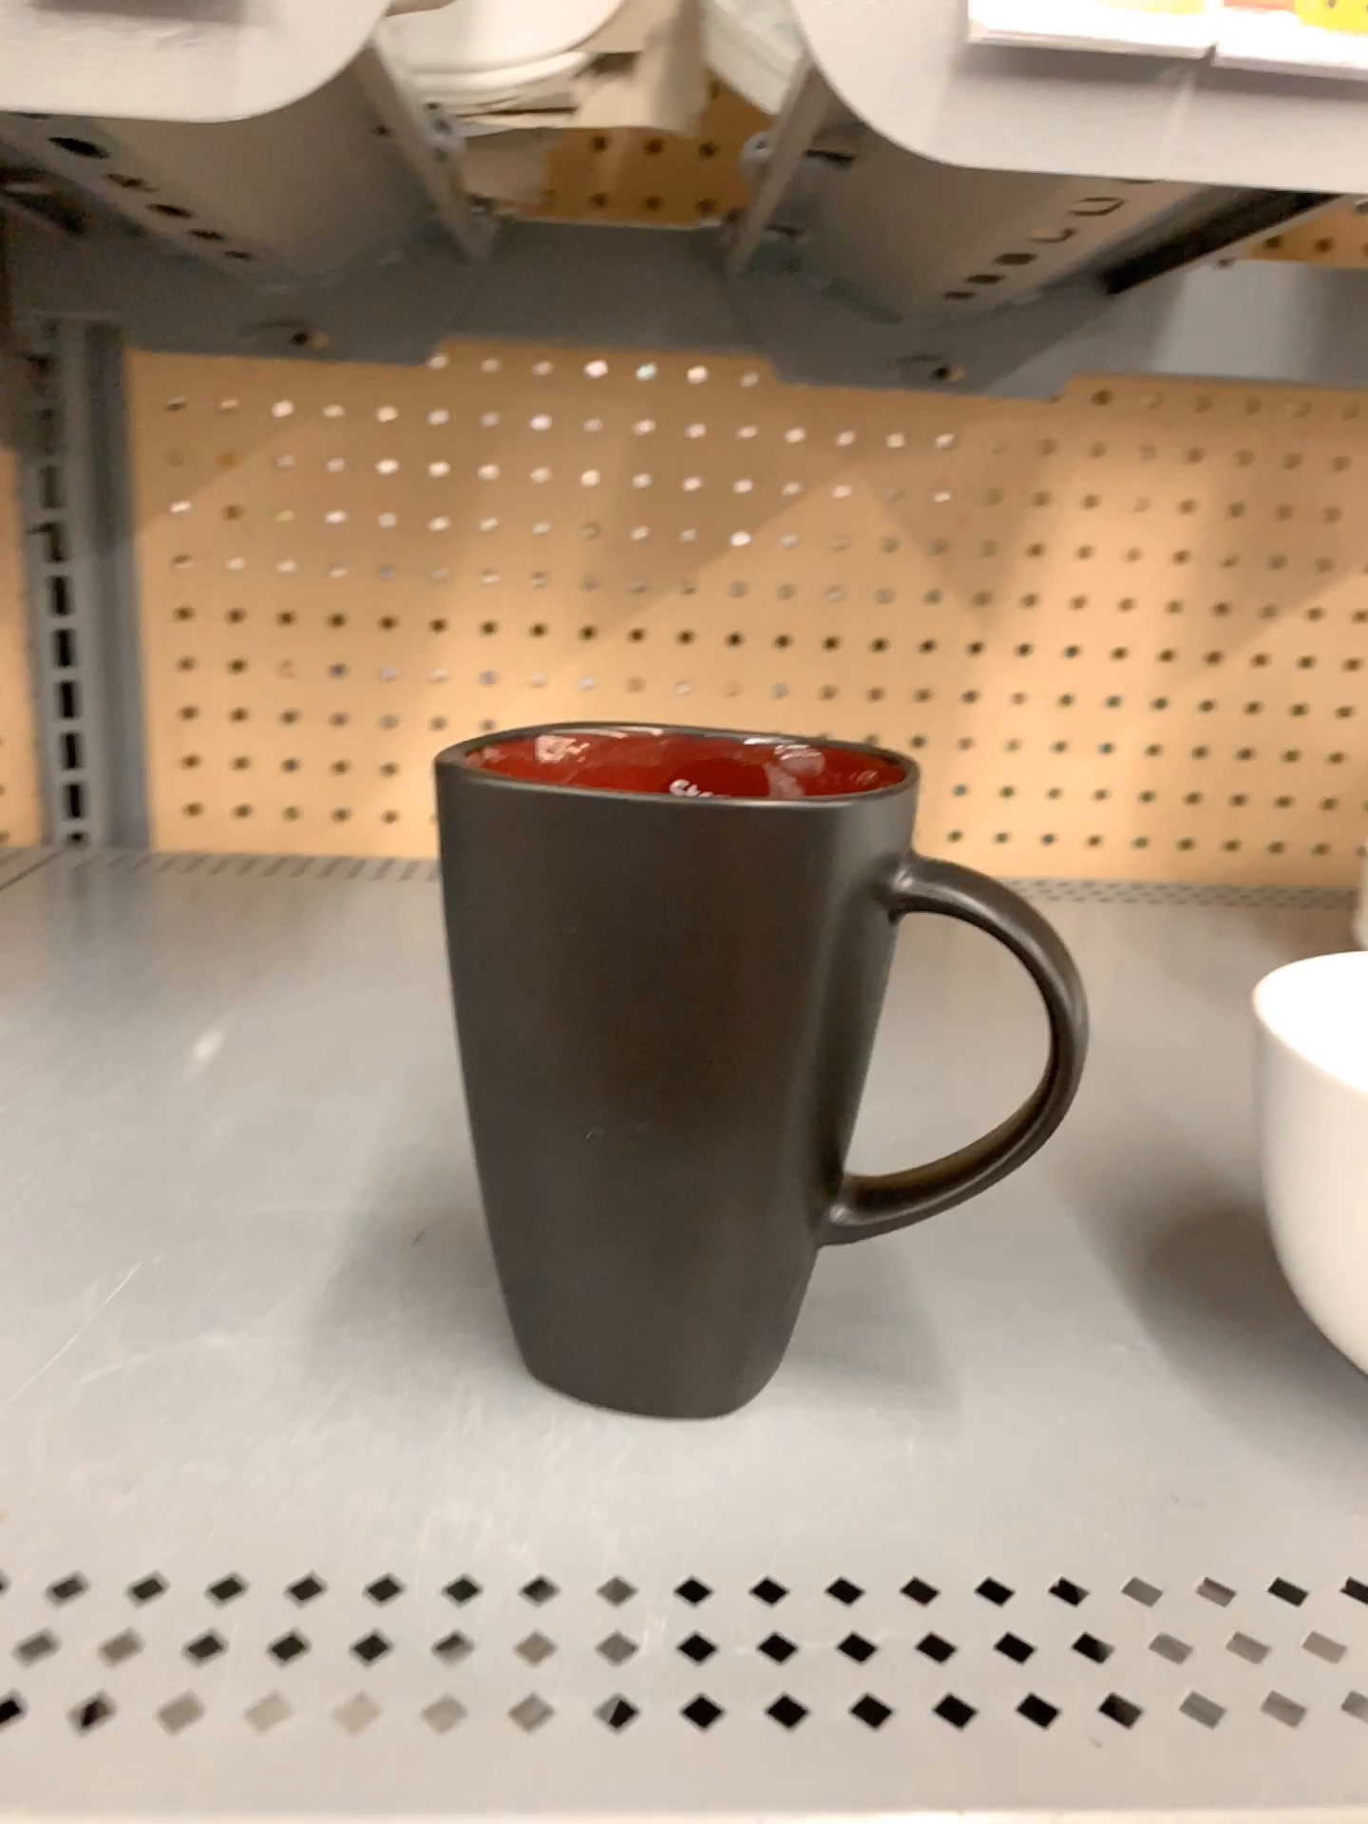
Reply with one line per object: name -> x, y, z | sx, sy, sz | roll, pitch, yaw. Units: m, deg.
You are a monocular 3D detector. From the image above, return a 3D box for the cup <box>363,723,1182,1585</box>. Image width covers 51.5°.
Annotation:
cup -> 0.016, 0.037, 0.283 | 0.130, 0.130, 0.090 | 5, 15, 9
